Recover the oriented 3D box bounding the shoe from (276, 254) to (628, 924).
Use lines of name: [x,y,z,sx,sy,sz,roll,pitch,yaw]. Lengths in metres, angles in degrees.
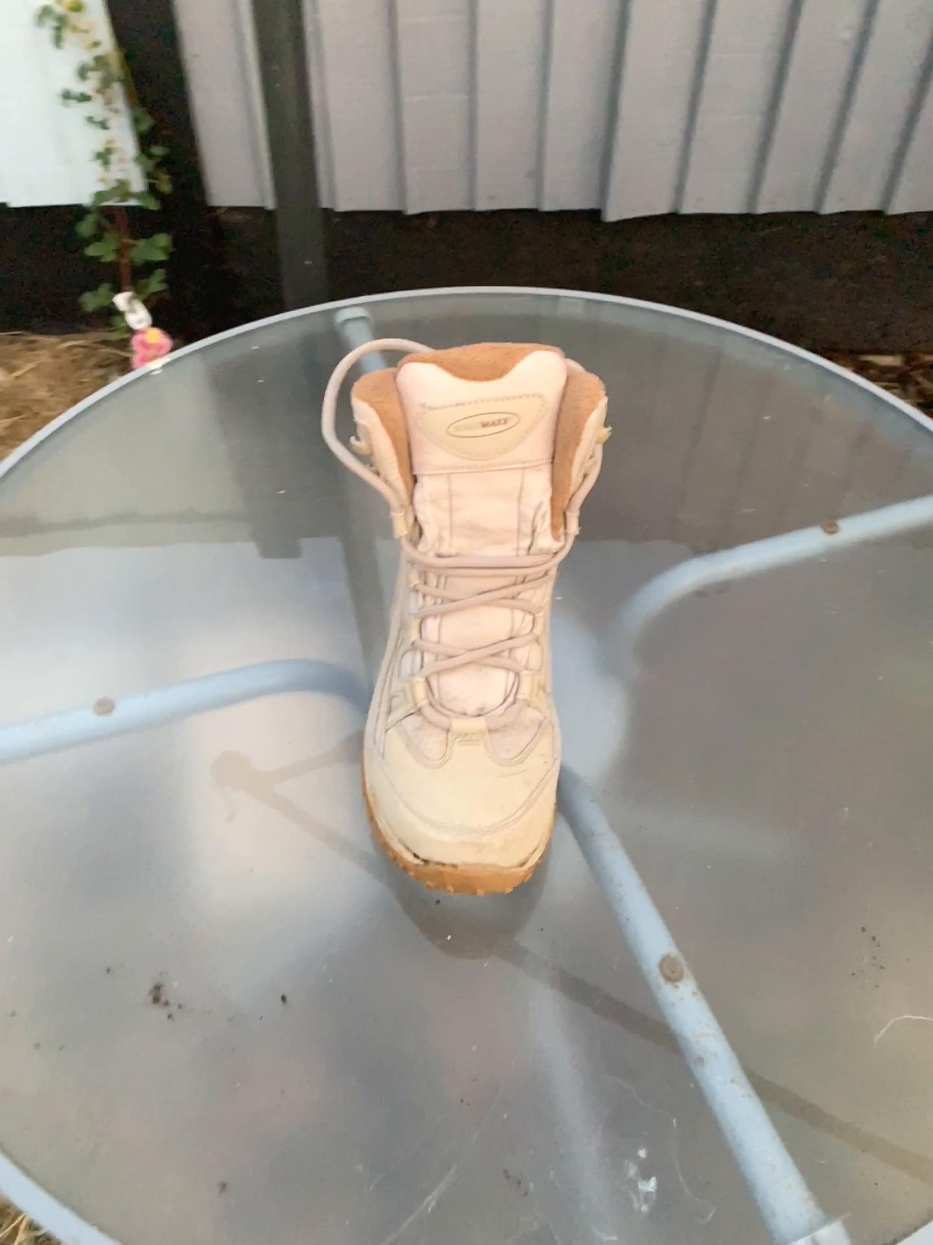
shoe: [0.003,-0.025,0.492,0.120,0.198,0.283,3,49,2]
